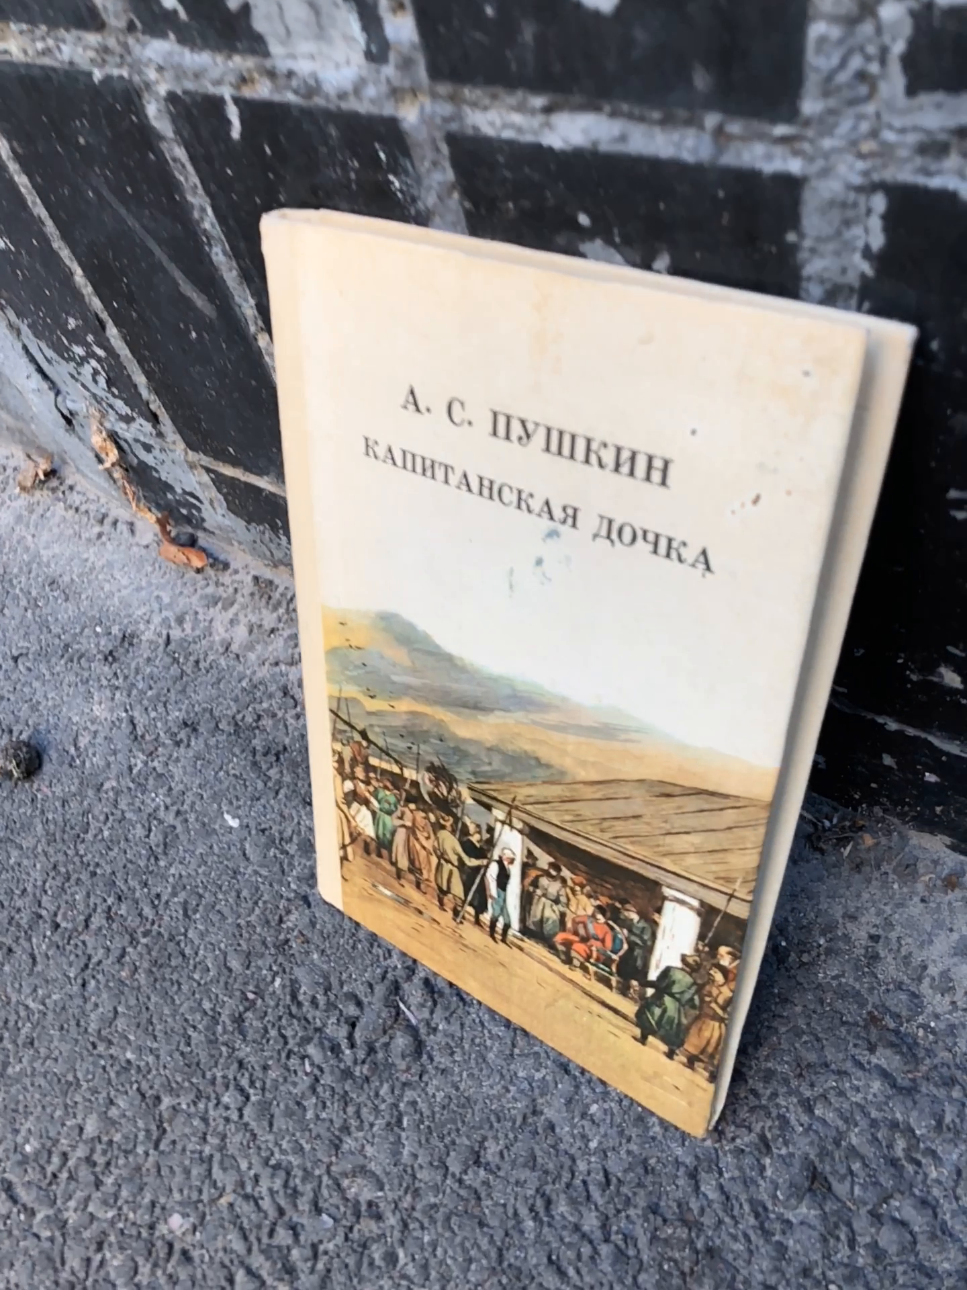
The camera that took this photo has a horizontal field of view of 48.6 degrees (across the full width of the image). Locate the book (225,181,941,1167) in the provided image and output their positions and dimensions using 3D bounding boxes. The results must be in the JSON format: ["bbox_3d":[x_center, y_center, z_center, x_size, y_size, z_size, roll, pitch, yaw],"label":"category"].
[{"bbox_3d":[0.006,0.015,0.260,0.145,0.215,0.023,24,39,29],"label":"book"}]
